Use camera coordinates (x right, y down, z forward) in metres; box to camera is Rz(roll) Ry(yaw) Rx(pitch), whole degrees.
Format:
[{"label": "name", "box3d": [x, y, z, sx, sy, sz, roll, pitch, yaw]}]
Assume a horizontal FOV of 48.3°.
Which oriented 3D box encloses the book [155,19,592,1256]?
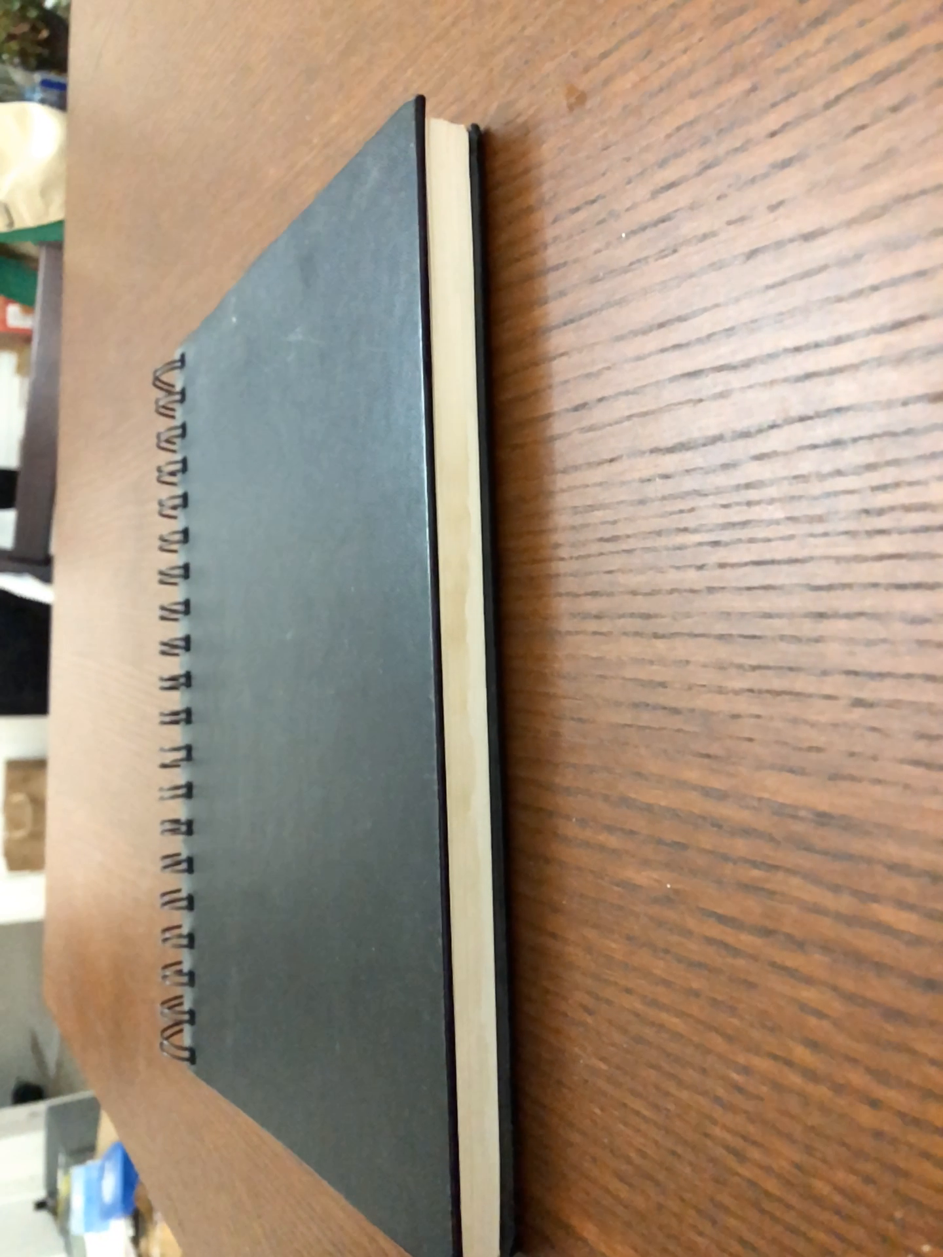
[{"label": "book", "box3d": [-0.047, 0.015, 0.296, 0.201, 0.030, 0.260, -12, 78, 58]}]
